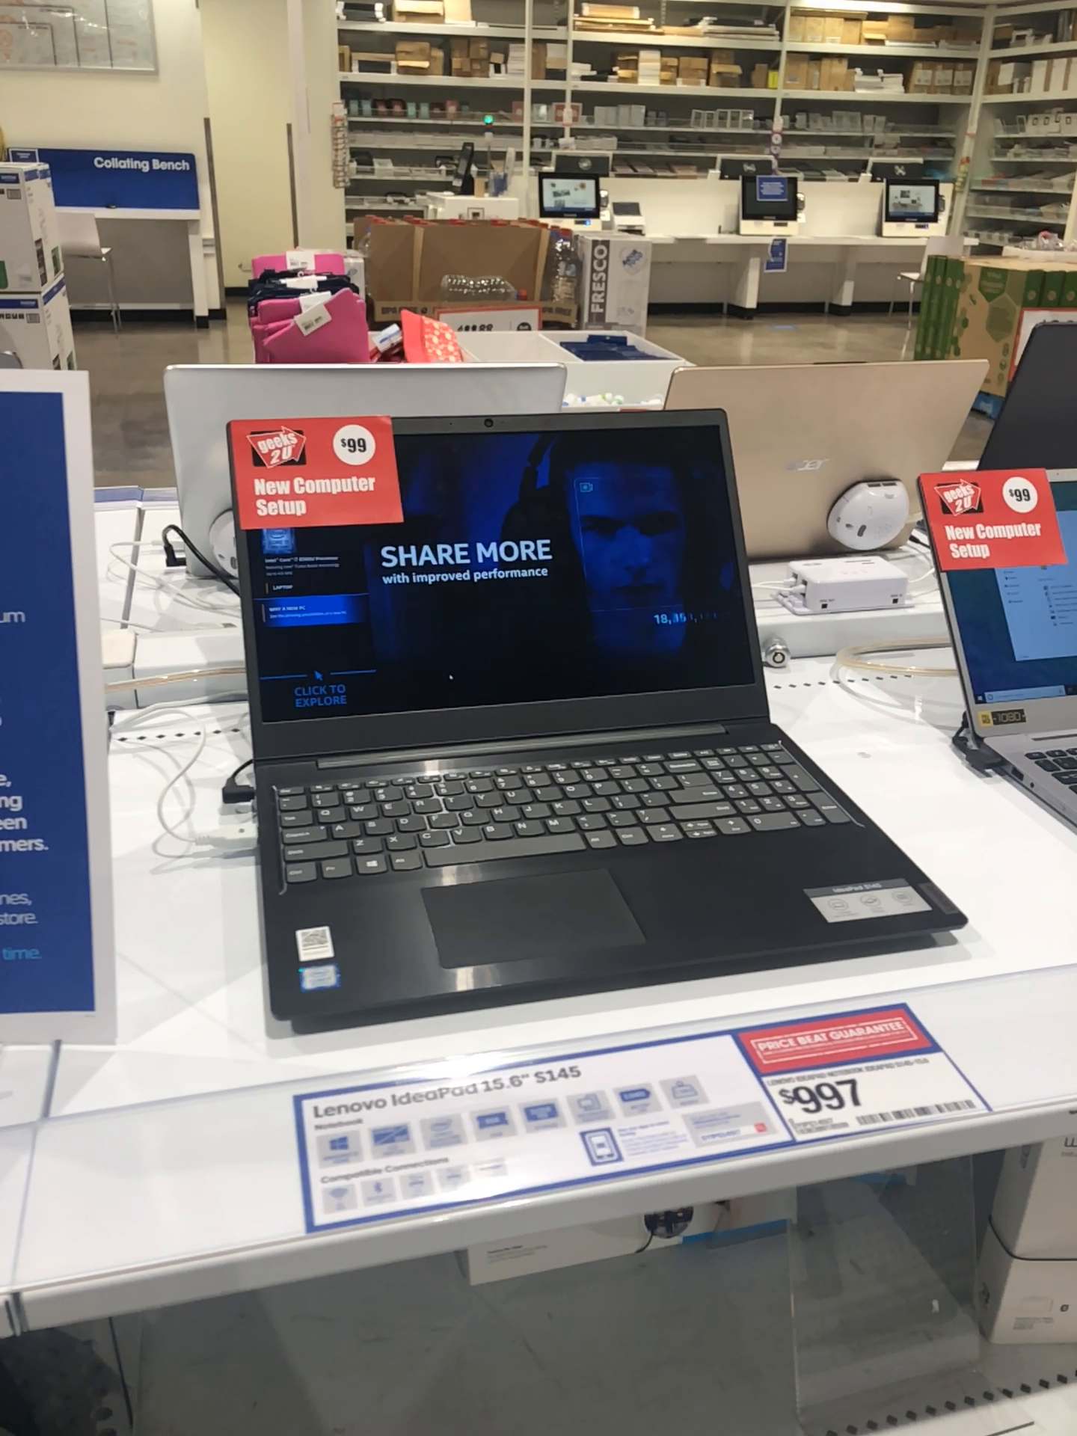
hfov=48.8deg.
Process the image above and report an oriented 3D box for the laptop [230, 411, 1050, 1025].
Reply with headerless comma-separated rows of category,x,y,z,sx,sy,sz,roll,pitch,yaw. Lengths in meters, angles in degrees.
laptop,0.013,-0.043,0.697,0.352,0.192,0.374,-5,26,-14
